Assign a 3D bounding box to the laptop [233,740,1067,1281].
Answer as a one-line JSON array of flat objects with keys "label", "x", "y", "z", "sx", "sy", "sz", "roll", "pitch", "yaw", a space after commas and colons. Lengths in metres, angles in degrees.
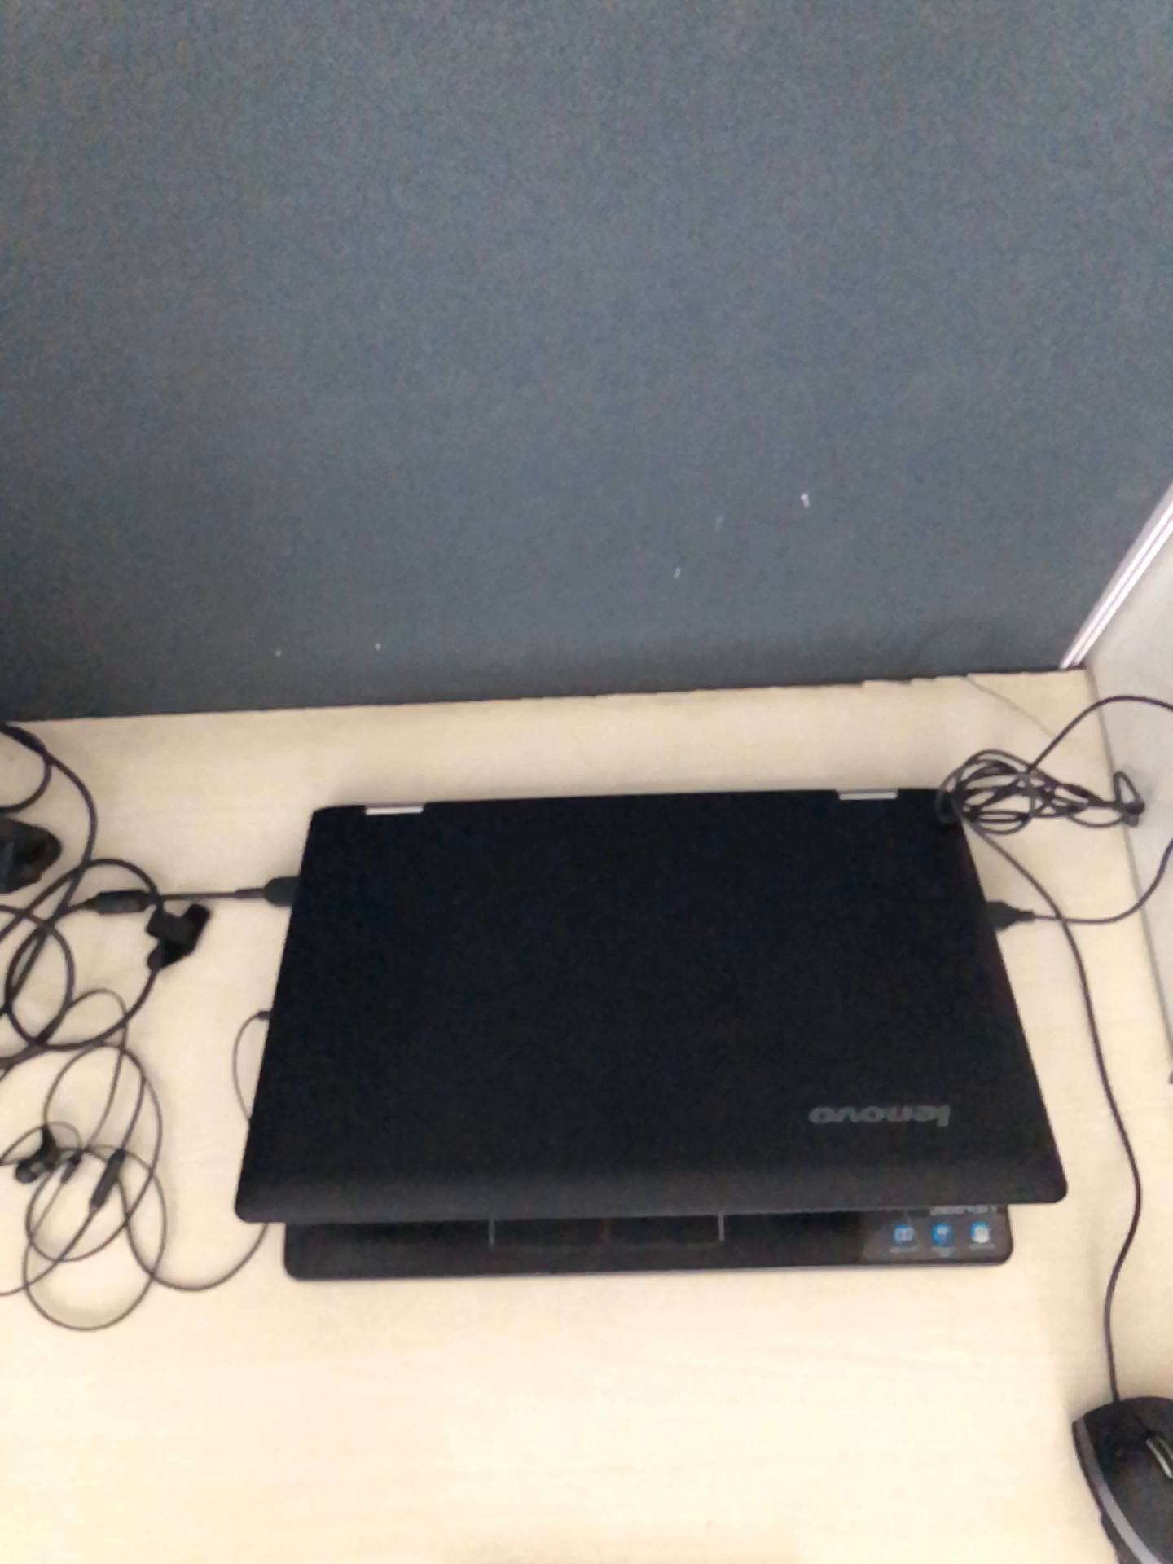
[{"label": "laptop", "x": 0.023, "y": 0.103, "z": 0.589, "sx": 0.326, "sy": 0.083, "sz": 0.220, "roll": -2, "pitch": 66, "yaw": 1}]
